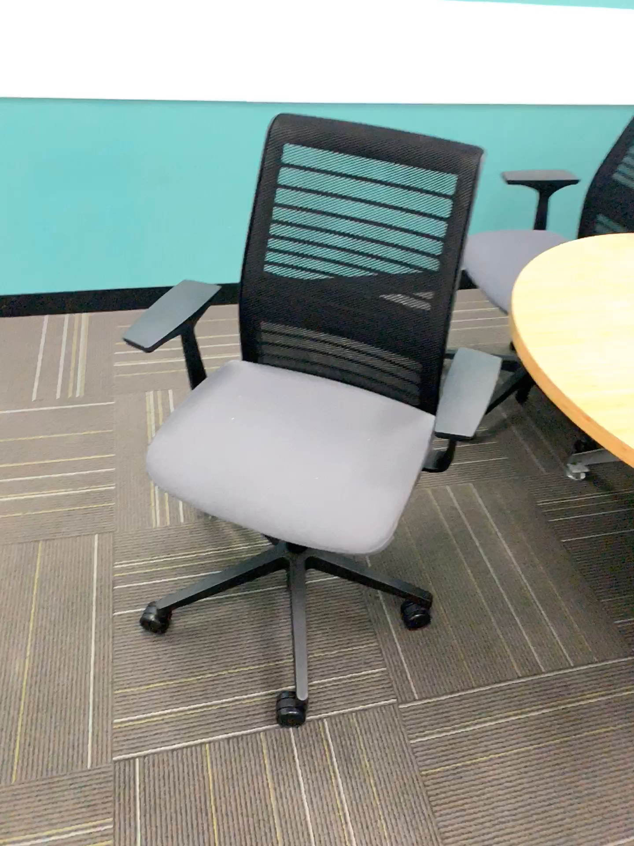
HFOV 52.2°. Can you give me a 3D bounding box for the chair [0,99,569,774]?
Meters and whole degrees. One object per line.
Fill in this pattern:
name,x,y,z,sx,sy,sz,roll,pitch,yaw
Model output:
chair,-0.001,-0.004,1.377,0.731,0.984,0.844,13,41,10
